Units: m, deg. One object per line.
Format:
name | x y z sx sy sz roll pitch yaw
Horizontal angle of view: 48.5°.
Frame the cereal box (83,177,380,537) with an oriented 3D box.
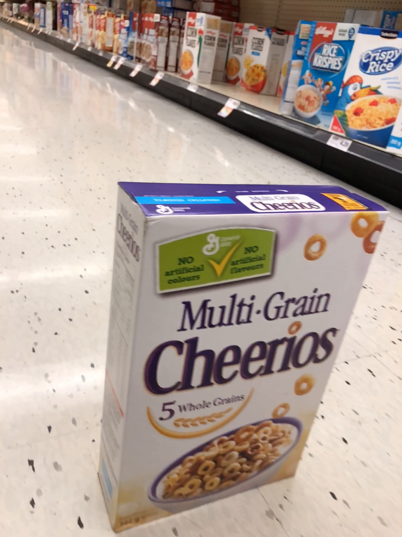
cereal box | 0.009 0.085 0.376 0.190 0.308 0.060 -4 30 -26
